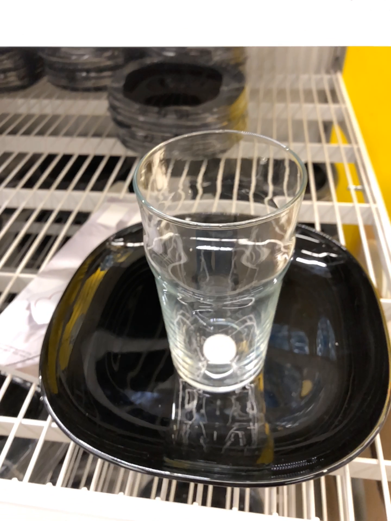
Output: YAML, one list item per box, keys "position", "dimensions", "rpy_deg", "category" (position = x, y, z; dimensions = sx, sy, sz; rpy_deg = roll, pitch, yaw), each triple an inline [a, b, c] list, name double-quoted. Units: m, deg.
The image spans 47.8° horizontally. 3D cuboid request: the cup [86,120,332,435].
- position: [0.012, 0.009, 0.258]
  dimensions: [0.090, 0.140, 0.090]
  rpy_deg: [-1, 40, 1]
  category: "cup"
